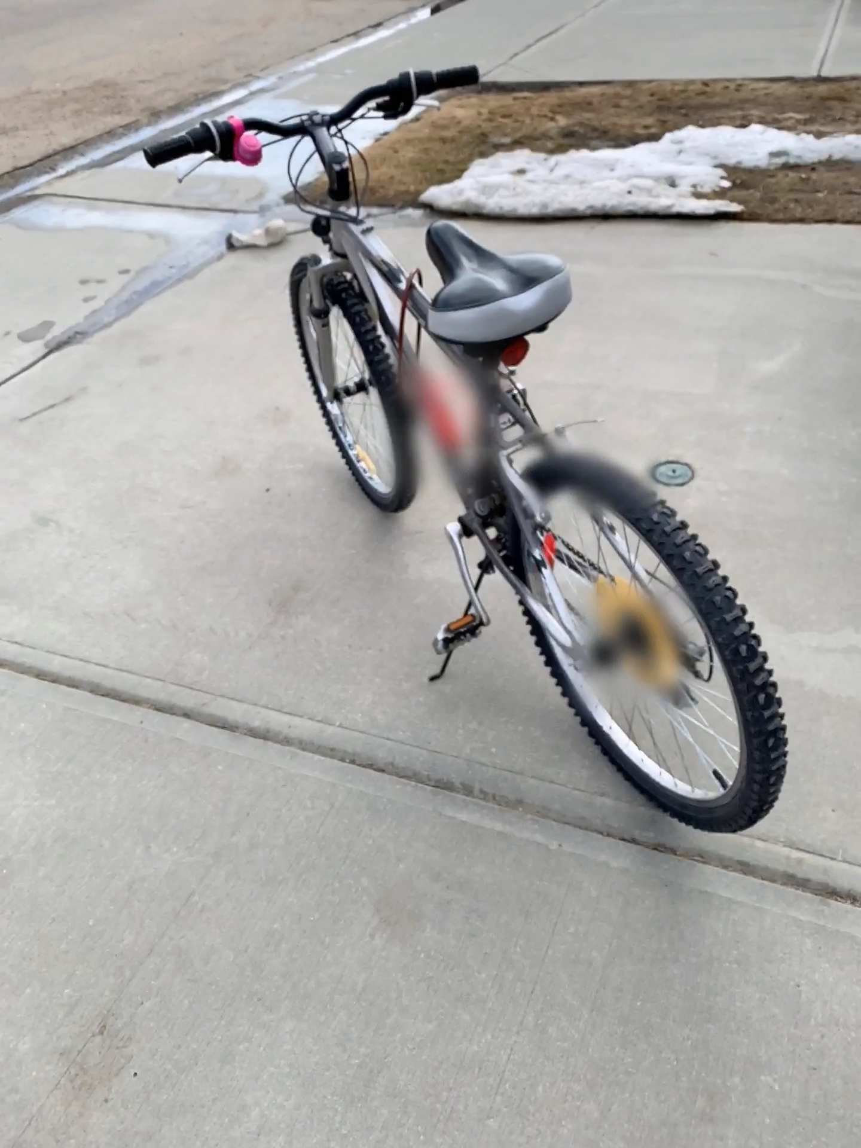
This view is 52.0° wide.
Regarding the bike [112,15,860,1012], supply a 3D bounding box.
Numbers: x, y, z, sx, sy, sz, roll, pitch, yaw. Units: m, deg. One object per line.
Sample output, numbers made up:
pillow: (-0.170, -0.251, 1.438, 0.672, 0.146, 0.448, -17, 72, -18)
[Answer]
bike: (0.016, -0.285, 1.469, 0.539, 0.825, 1.506, -20, 45, -20)
